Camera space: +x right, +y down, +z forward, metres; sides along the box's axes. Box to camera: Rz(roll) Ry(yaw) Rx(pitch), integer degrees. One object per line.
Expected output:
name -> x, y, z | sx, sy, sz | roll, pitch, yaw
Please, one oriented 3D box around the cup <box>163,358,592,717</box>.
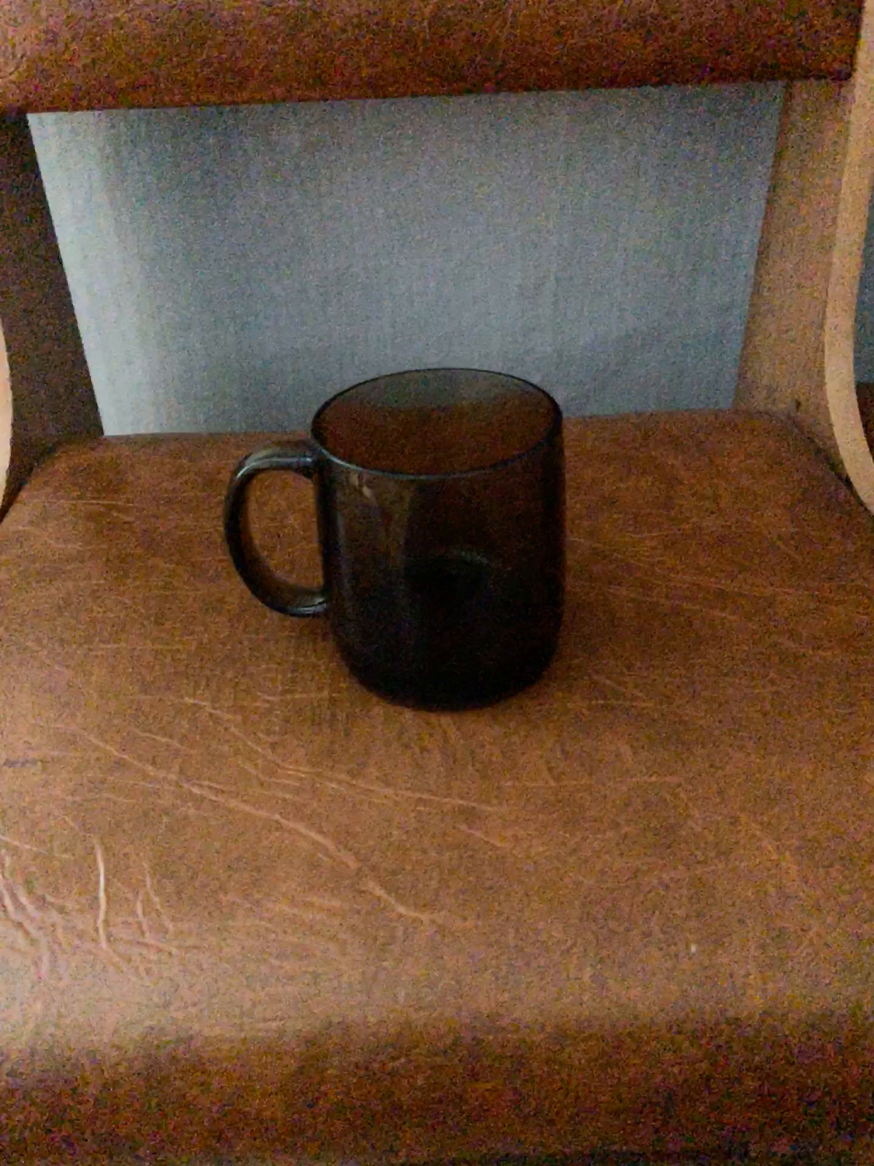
cup -> -0.012, -0.018, 0.305 | 0.120, 0.089, 0.081 | 2, 34, 6
